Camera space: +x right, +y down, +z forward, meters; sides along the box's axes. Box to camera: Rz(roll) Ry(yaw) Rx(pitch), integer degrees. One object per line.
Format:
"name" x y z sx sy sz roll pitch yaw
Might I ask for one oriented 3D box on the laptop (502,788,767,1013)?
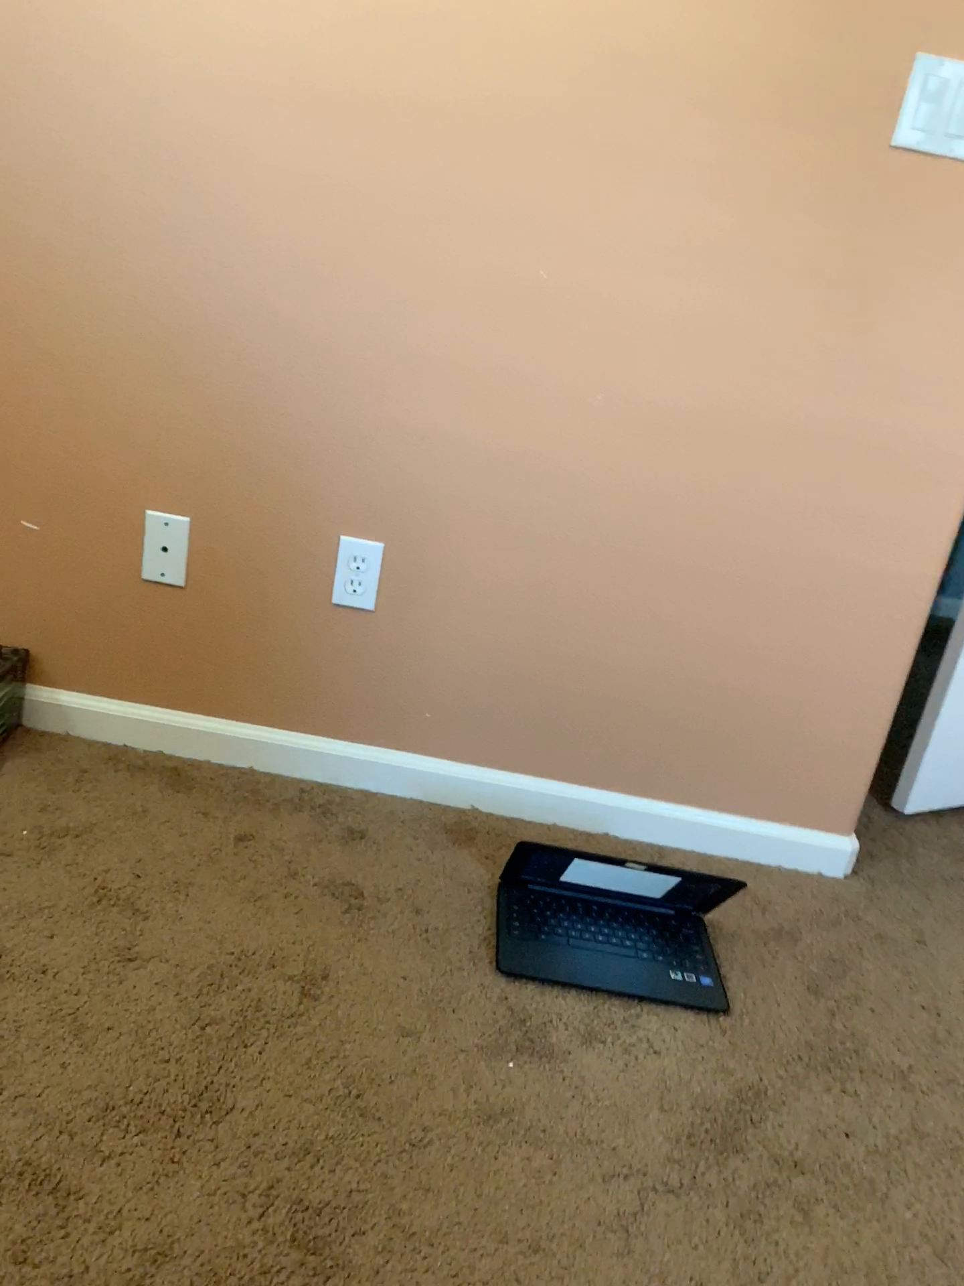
"laptop" 0.182 0.325 1.275 0.292 0.140 0.193 11 20 -2
